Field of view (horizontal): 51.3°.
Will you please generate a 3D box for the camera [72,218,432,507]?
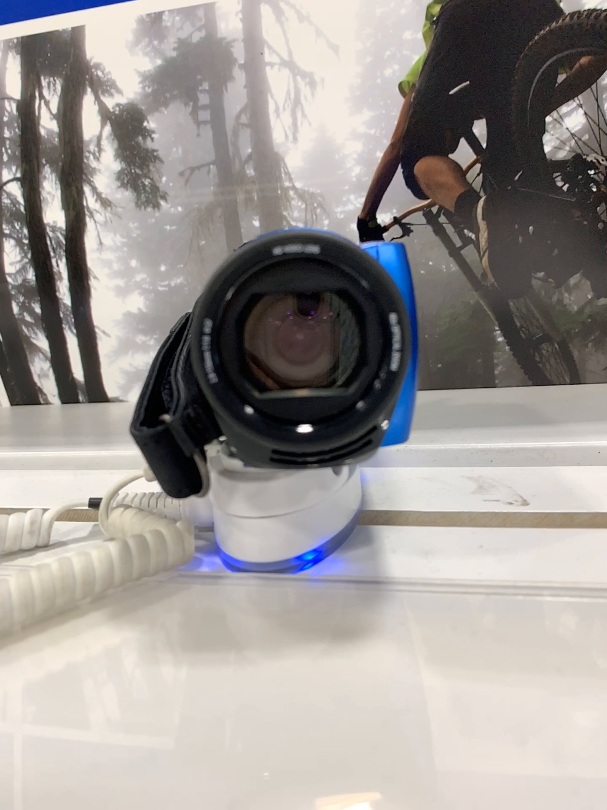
[{"bbox_3d":[-0.009,-0.024,0.204,0.072,0.058,0.144,-3,13,1],"label":"camera"}]
